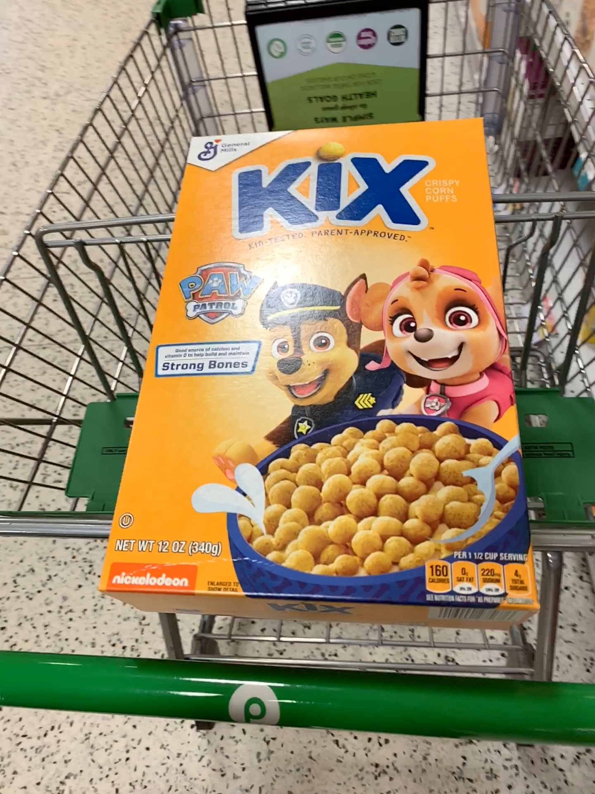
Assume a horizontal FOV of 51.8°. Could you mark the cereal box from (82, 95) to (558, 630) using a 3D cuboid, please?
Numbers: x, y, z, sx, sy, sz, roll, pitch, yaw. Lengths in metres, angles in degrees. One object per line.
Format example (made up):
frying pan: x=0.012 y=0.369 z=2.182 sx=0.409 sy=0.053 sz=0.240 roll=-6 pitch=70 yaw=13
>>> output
cereal box: x=0.019 y=-0.037 z=0.378 sx=0.210 sy=0.079 sz=0.322 roll=0 pitch=62 yaw=8
